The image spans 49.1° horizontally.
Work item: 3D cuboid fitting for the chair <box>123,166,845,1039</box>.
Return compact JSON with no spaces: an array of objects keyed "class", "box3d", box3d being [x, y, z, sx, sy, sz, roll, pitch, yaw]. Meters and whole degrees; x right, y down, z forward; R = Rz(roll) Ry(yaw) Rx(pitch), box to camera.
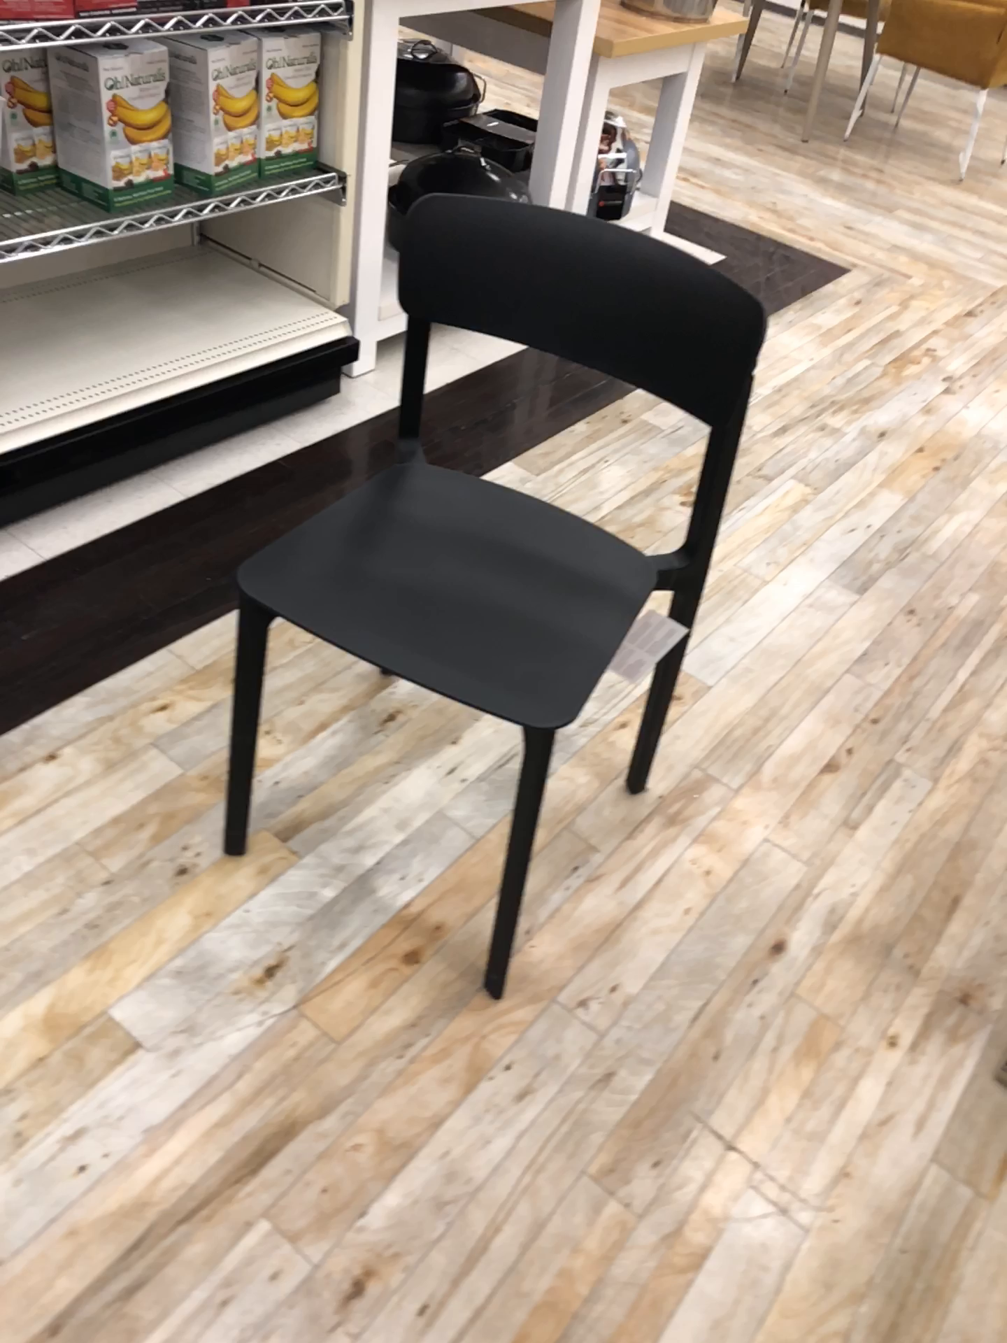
[{"class":"chair","box3d":[-0.028,-0.092,1.280,0.500,0.707,0.542,24,42,15]}]
